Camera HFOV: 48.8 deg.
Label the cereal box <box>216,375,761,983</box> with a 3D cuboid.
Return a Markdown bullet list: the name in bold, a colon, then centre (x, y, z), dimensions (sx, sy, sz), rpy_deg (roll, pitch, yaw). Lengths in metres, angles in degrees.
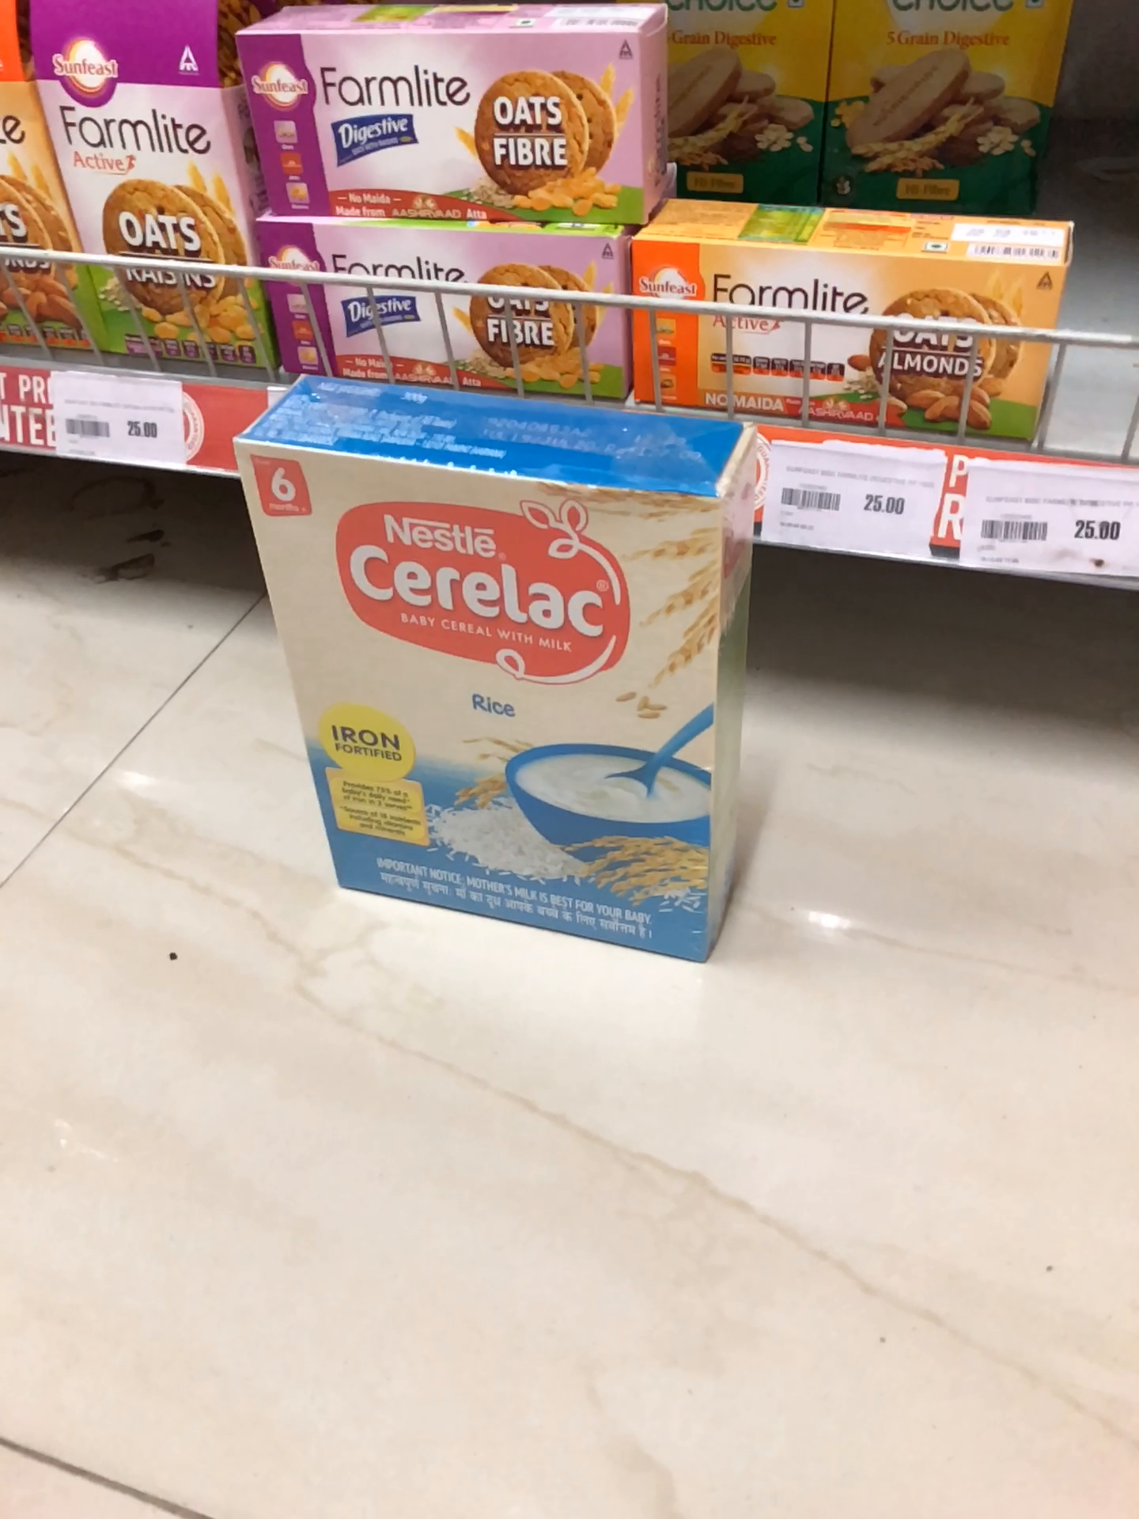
- **cereal box**: centre (-0.019, -0.023, 0.432), dimensions (0.150, 0.189, 0.060), rpy_deg (10, 42, 15)
